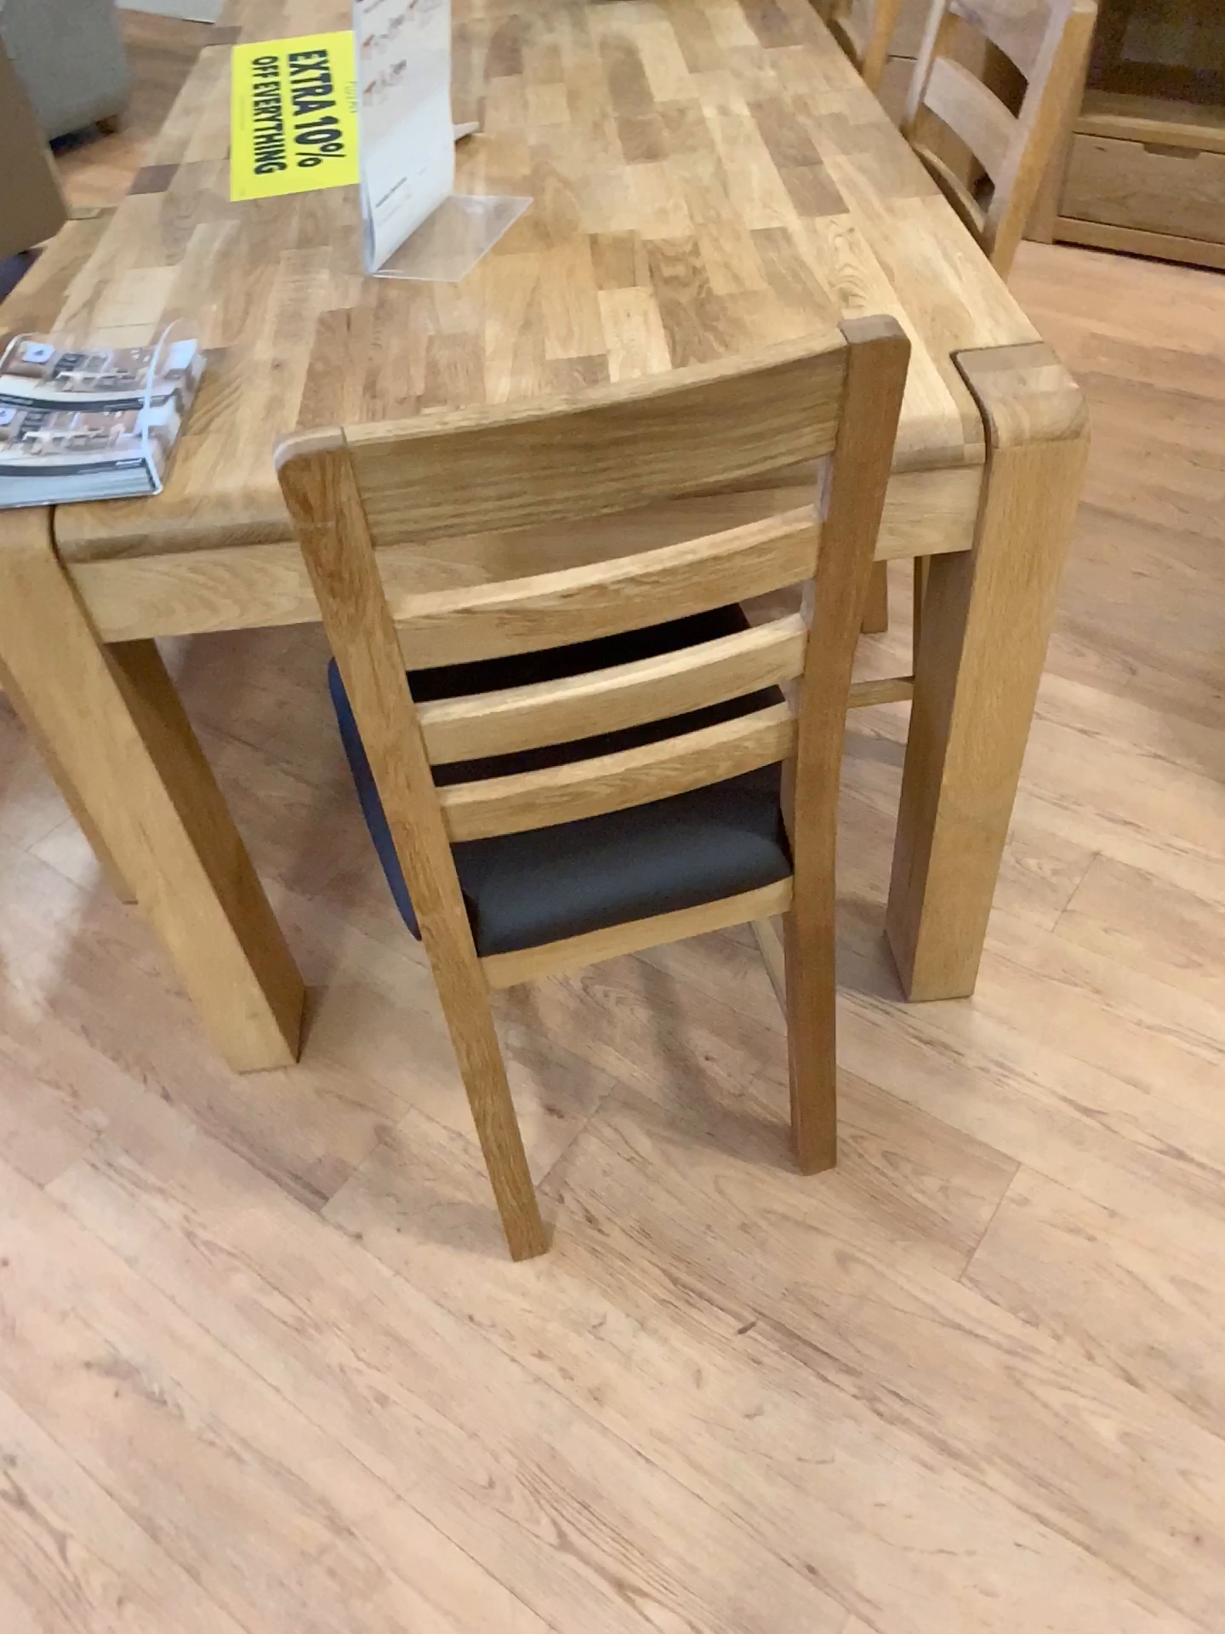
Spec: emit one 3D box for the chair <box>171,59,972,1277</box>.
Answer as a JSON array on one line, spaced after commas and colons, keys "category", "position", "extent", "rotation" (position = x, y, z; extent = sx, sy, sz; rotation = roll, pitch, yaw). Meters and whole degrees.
[{"category": "chair", "position": [-0.044, -0.076, 1.142], "extent": [0.421, 0.918, 0.521], "rotation": [-13, 46, -7]}]
